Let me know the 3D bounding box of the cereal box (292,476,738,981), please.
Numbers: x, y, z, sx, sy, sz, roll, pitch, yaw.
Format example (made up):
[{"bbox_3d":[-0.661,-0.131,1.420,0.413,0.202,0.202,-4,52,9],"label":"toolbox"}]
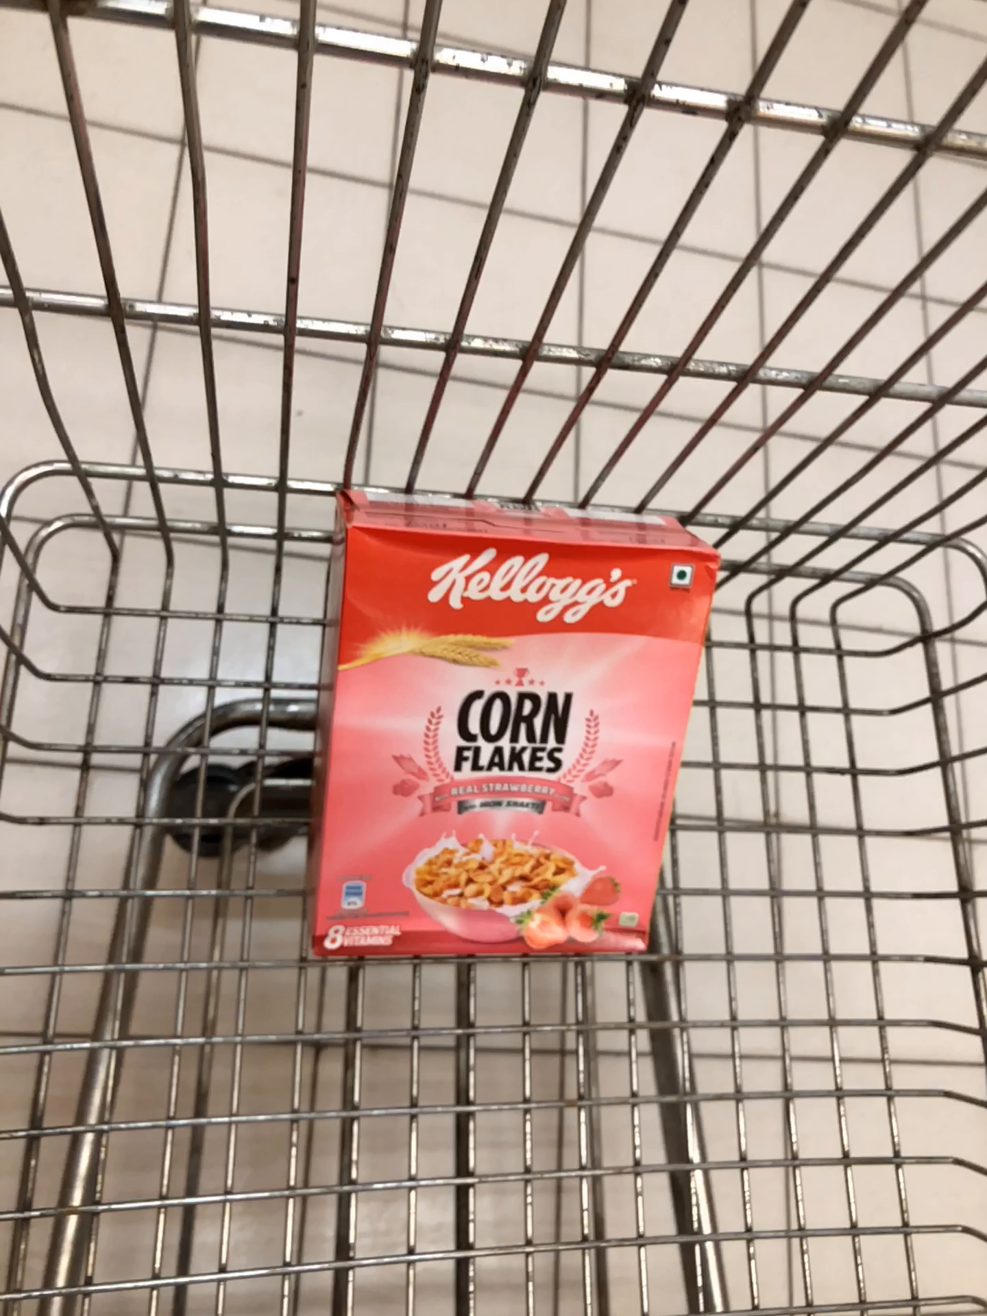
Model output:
[{"bbox_3d":[0.001,0.031,0.420,0.140,0.050,0.180,3,110,-14],"label":"cereal box"}]
